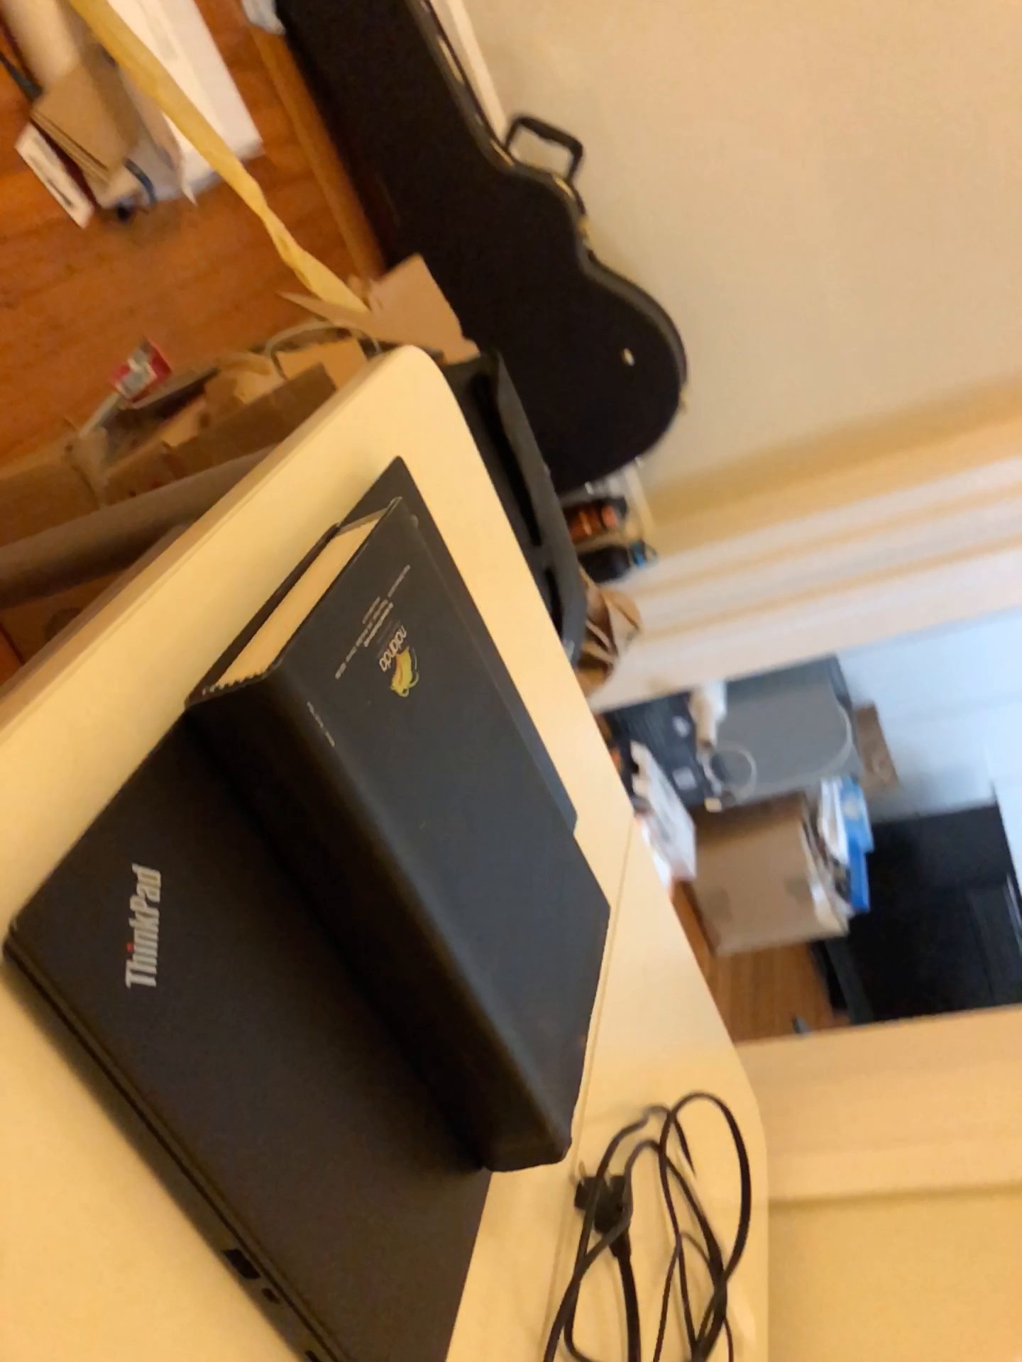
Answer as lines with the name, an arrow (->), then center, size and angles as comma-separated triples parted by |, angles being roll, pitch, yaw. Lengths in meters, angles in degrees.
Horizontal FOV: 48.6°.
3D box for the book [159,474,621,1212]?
book -> -0.024, 0.059, 0.426 | 0.151, 0.040, 0.230 | -70, 140, -57
